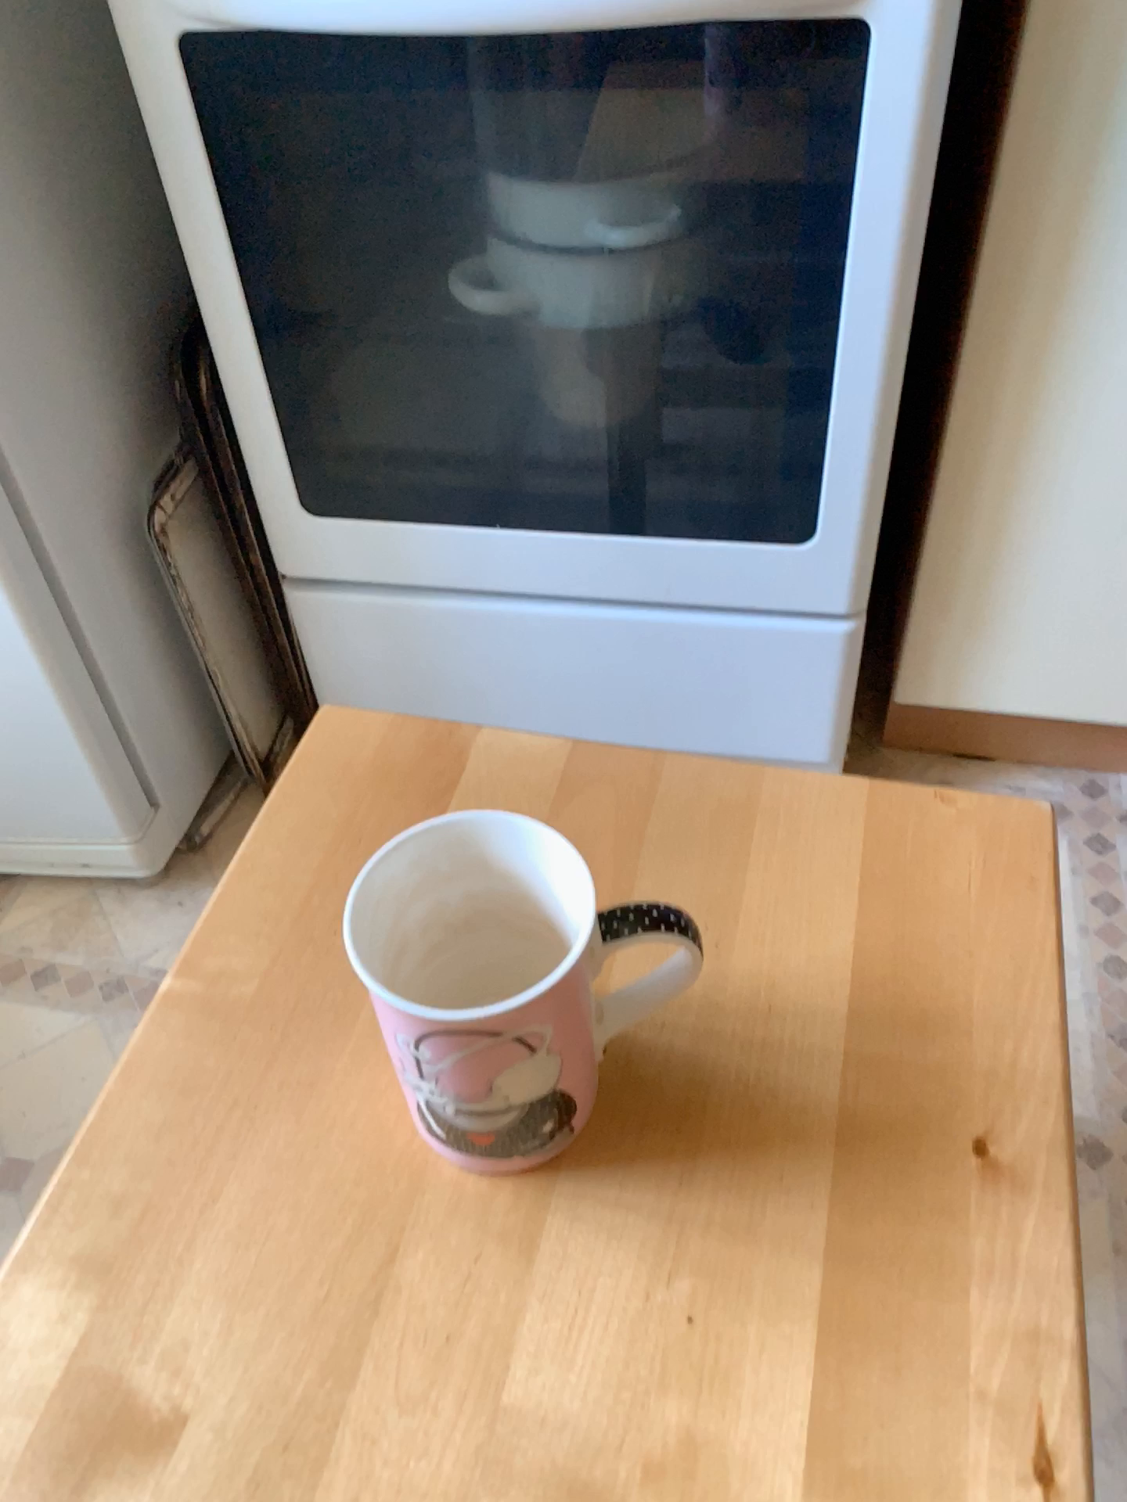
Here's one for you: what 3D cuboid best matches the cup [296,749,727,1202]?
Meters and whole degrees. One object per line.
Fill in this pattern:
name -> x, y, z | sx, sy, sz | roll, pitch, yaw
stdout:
cup -> -0.015, 0.073, 0.367 | 0.113, 0.107, 0.075 | -10, 45, -5
